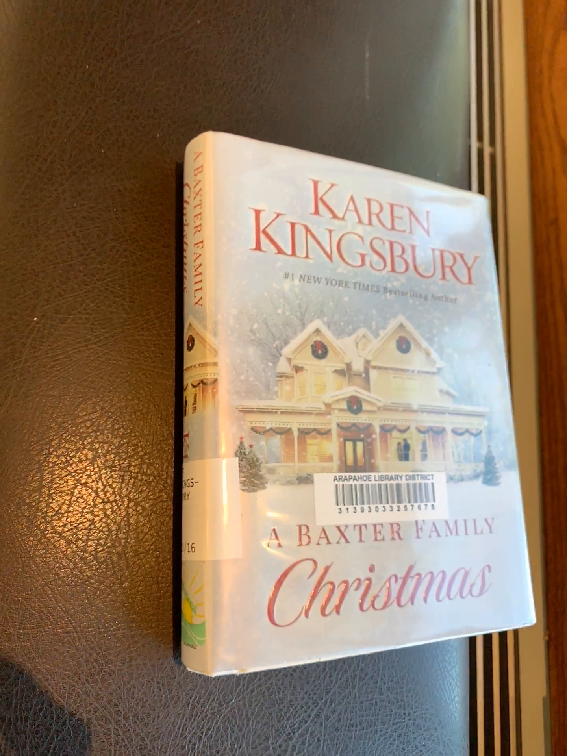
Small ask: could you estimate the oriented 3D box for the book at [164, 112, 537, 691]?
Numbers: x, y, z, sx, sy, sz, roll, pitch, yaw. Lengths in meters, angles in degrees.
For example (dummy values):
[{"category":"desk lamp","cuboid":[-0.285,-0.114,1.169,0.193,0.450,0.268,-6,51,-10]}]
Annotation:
[{"category":"book","cuboid":[0.026,0.005,0.220,0.135,0.023,0.180,4,78,-24]}]
